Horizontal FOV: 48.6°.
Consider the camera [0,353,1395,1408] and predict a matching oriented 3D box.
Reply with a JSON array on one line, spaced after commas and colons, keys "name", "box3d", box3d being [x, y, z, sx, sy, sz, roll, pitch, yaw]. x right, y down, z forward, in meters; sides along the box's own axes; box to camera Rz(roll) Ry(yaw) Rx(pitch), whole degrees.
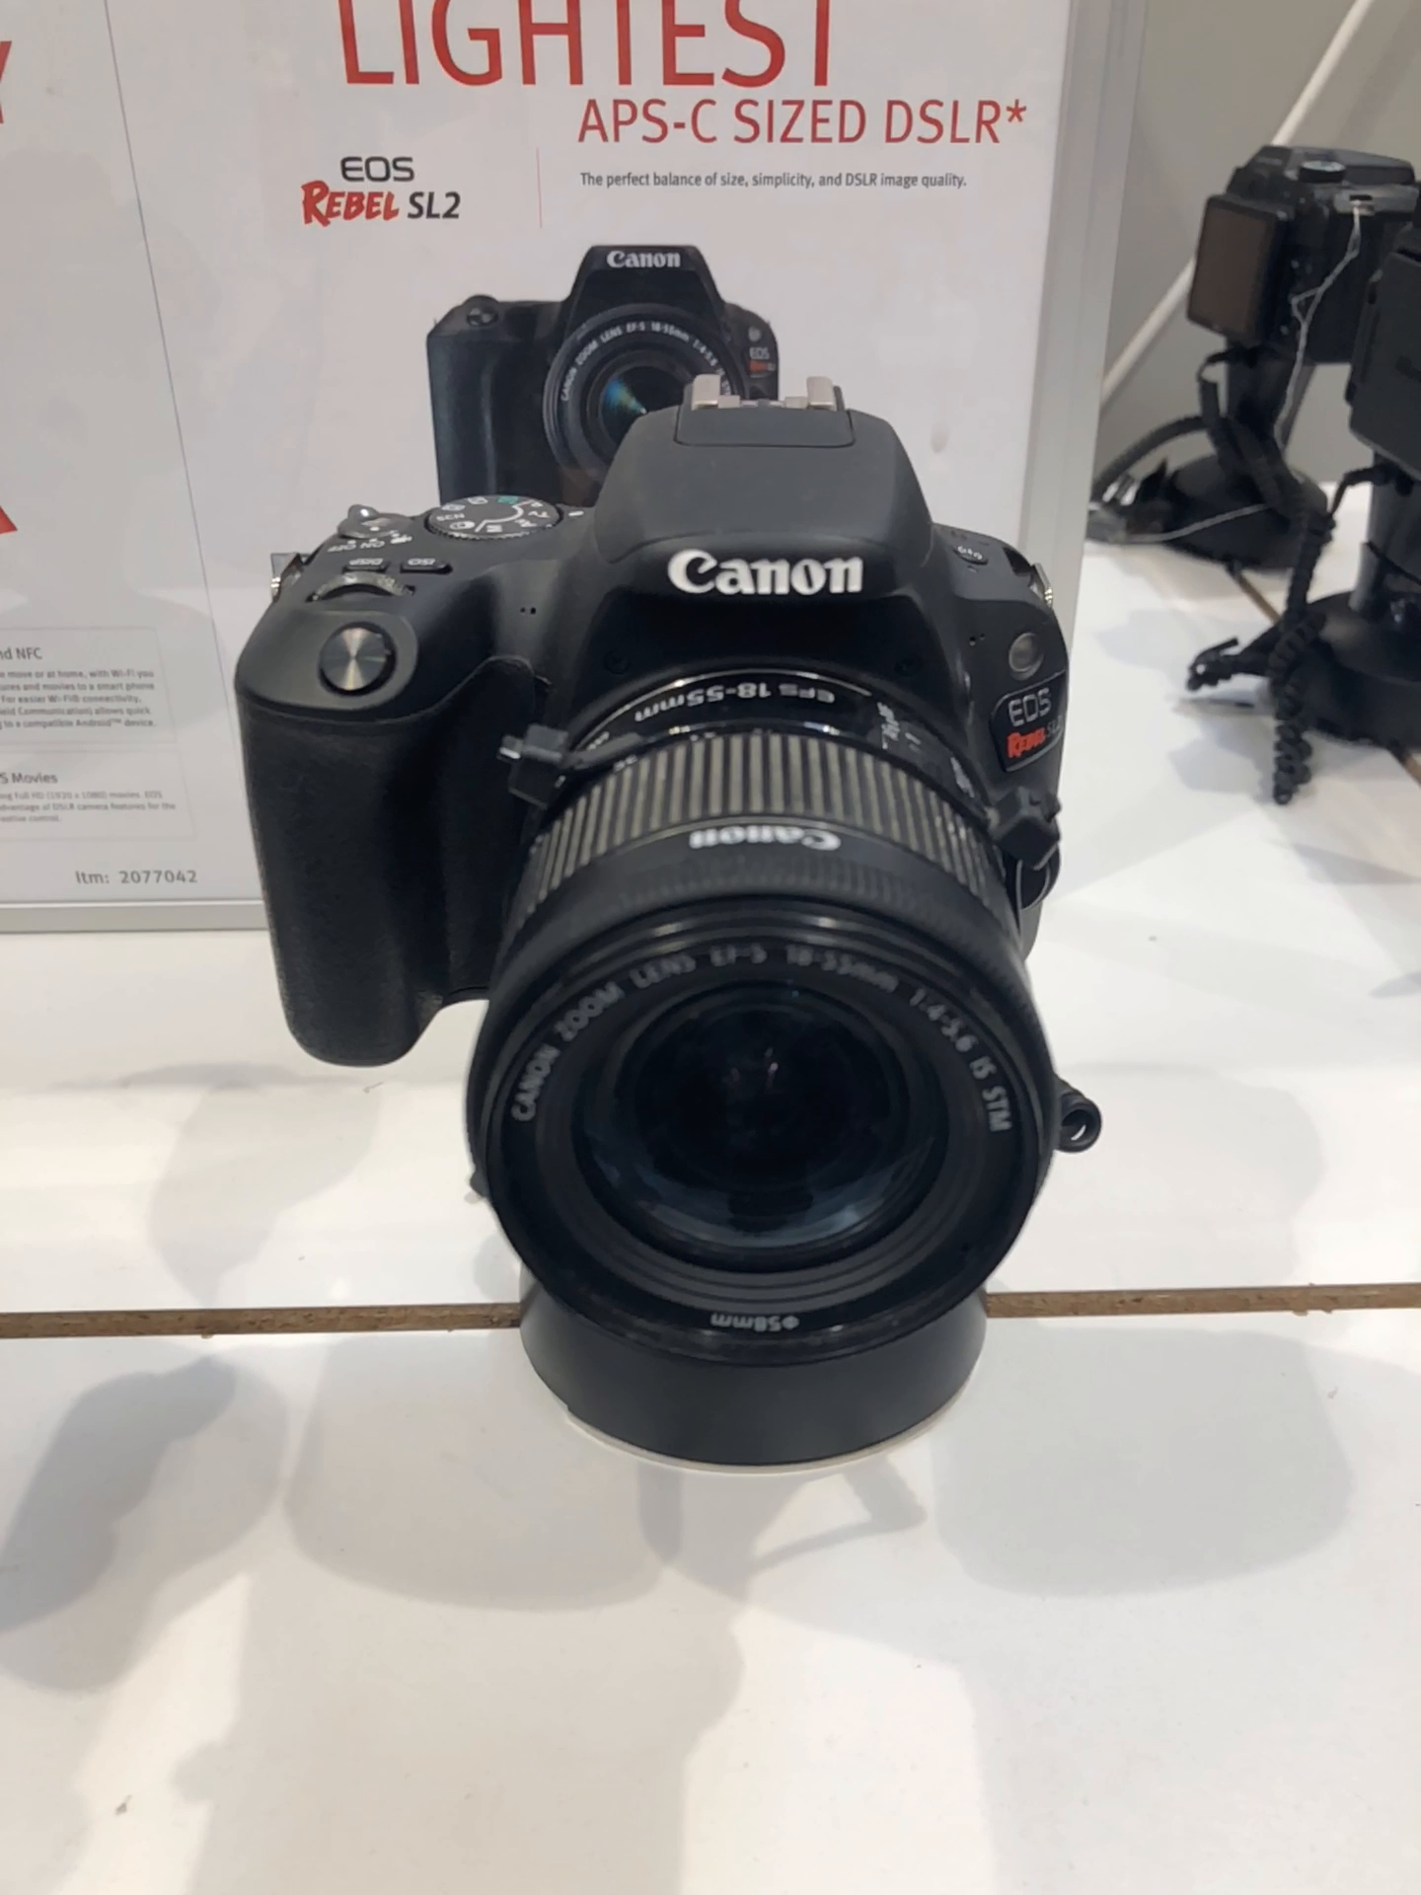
[{"name": "camera", "box3d": [-0.008, -0.018, 0.206, 0.130, 0.089, 0.121, 0, 32, 0]}]
